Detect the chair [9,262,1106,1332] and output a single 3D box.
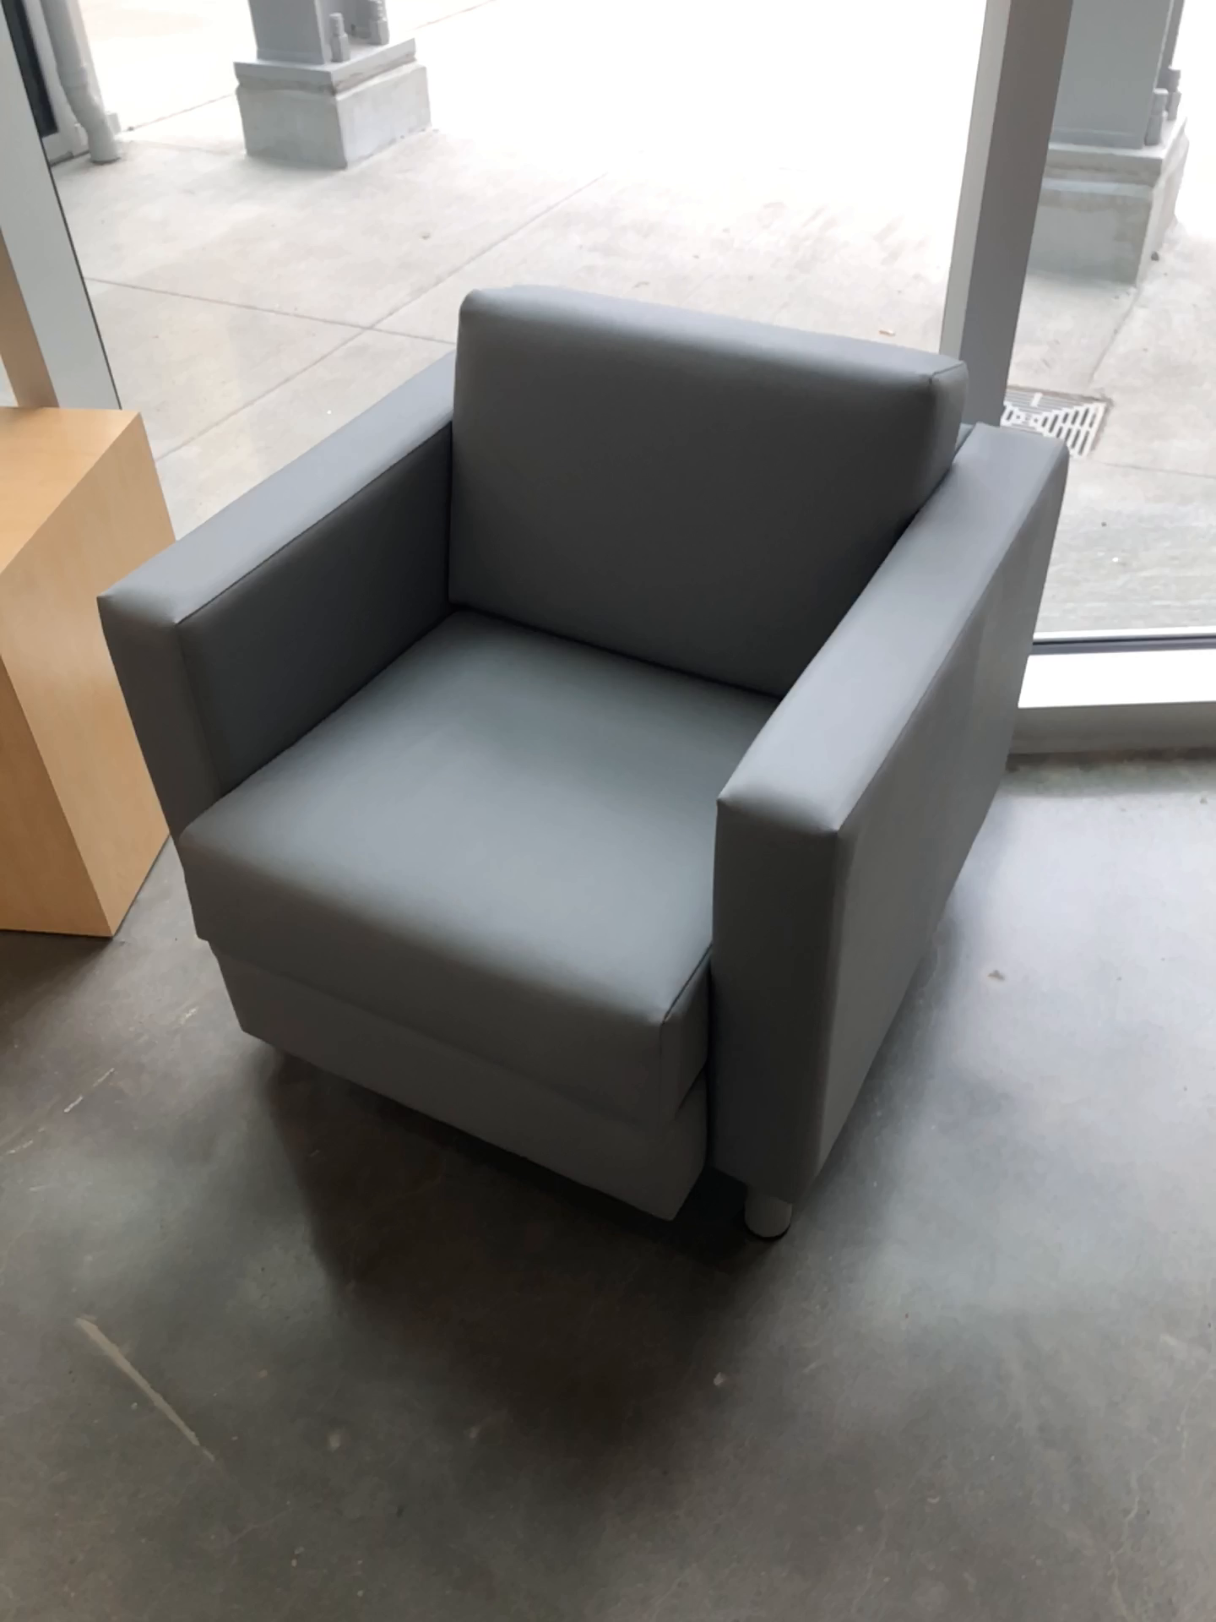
[{"bbox_3d":[0.010,-0.081,1.506,0.772,0.695,0.784,18,46,21],"label":"chair"}]
